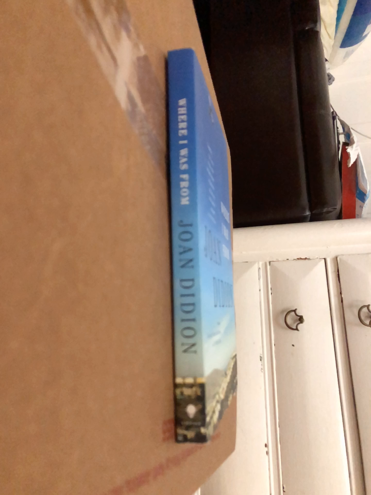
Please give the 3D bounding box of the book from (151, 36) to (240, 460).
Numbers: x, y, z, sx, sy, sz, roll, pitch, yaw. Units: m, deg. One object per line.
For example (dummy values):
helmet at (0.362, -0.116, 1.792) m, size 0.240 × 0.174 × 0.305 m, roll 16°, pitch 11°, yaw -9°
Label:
book at (0.012, 0.002, 0.269) m, size 0.140 × 0.020 × 0.210 m, roll 31°, pitch 55°, yaw -74°
